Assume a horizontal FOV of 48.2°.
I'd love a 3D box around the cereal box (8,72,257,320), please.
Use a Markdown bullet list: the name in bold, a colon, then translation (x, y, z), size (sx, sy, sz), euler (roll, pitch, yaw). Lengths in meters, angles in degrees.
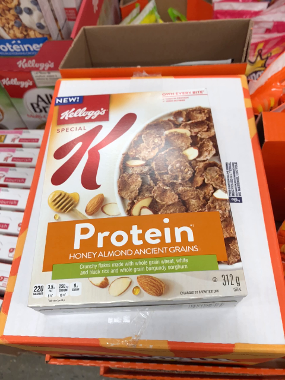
- **cereal box**: translation (-0.012, -0.007, 0.346), size (0.200, 0.060, 0.261), euler (-4, 60, 3)
